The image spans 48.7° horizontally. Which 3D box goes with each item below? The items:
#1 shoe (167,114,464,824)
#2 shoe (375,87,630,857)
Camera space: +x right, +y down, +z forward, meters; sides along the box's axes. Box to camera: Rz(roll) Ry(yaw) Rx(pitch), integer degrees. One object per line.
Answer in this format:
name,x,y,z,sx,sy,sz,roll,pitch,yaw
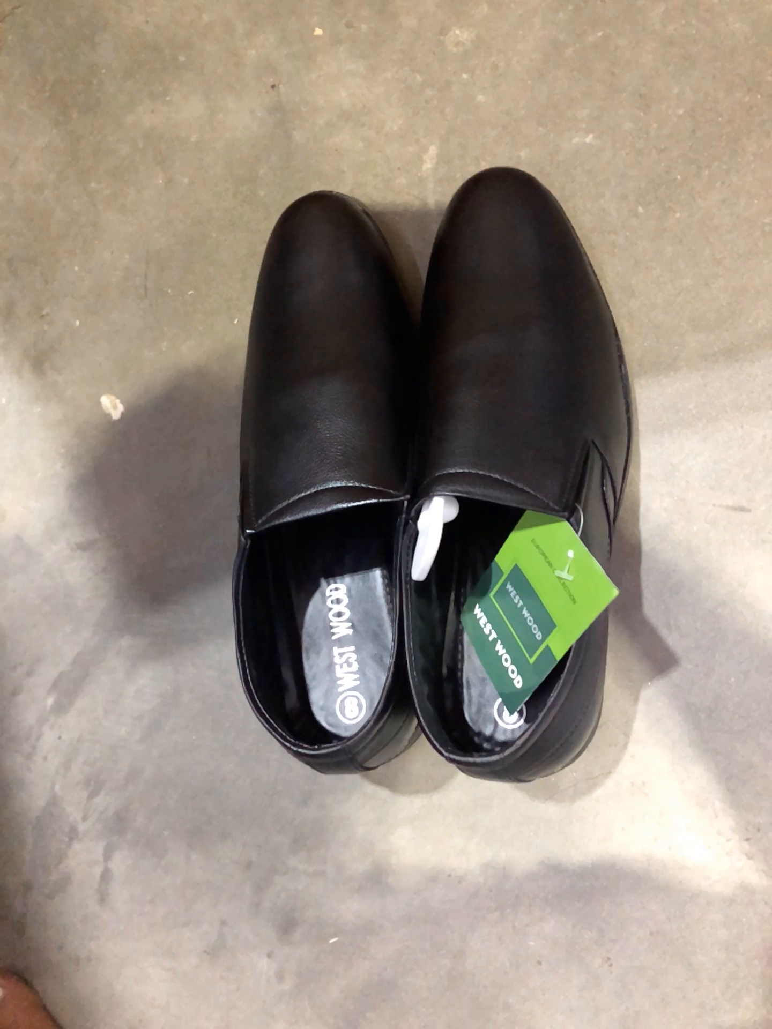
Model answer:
shoe,-0.031,-0.017,0.419,0.100,0.100,0.300,-5,85,16
shoe,0.057,-0.017,0.388,0.100,0.090,0.300,-1,87,17
